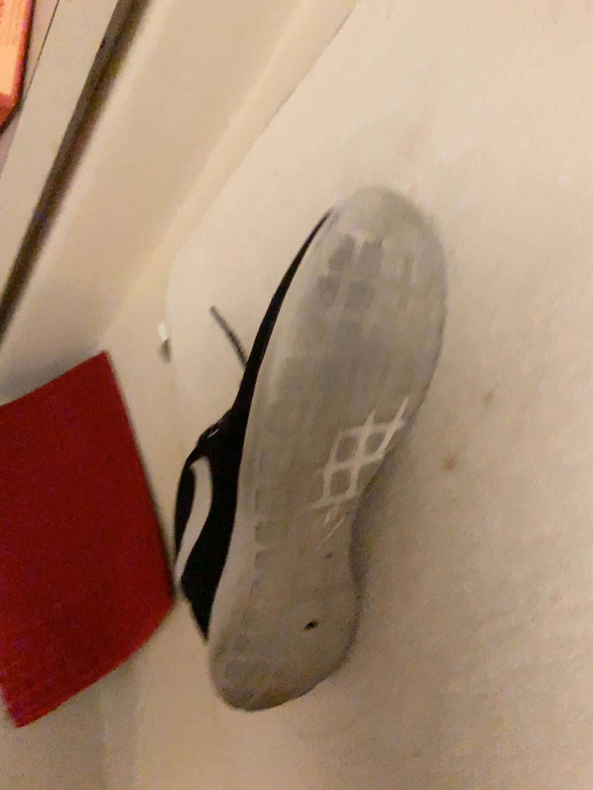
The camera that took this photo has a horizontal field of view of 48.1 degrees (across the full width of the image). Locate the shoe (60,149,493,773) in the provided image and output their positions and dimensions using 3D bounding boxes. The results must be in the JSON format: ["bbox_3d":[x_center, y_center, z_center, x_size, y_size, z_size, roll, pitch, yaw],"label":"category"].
[{"bbox_3d":[-0.033,0.018,0.370,0.180,0.100,0.270,30,109,52],"label":"shoe"}]
